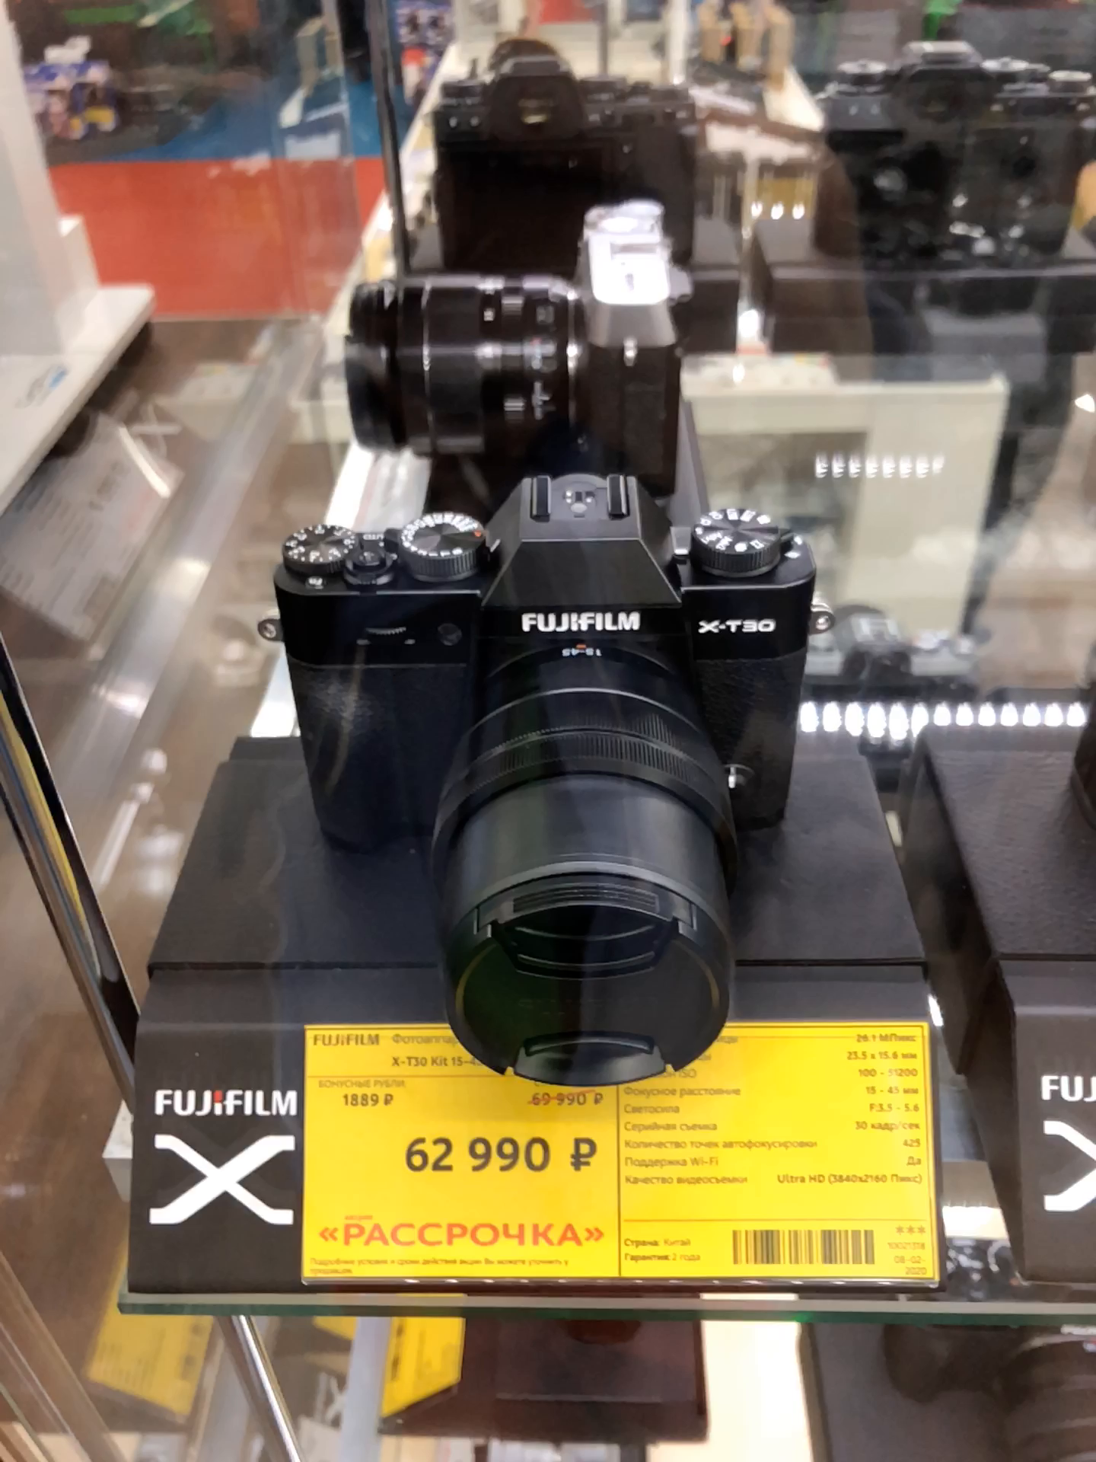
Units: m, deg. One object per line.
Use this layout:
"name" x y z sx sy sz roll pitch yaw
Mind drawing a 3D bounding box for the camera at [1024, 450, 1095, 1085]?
"camera" 0.179 0.002 0.255 0.114 0.078 0.109 1 38 3

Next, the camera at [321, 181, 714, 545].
"camera" -0.008 -0.136 0.445 0.120 0.089 0.114 0 38 1

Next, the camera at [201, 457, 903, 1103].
"camera" 0.001 0.007 0.270 0.114 0.089 0.111 -1 38 0
